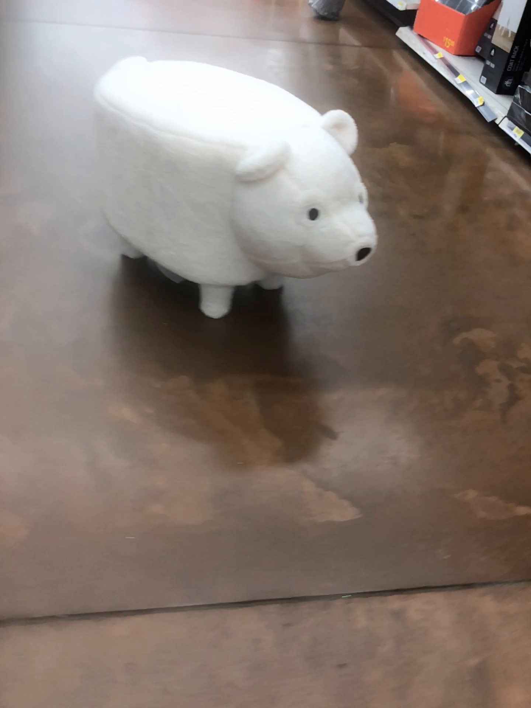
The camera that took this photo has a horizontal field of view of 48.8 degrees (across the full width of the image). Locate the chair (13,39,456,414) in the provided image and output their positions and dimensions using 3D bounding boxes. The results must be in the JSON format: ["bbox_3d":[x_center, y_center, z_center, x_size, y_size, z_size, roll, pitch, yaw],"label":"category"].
[{"bbox_3d":[-0.089,-0.292,1.081,0.441,0.349,0.631,-25,50,-32],"label":"chair"}]
